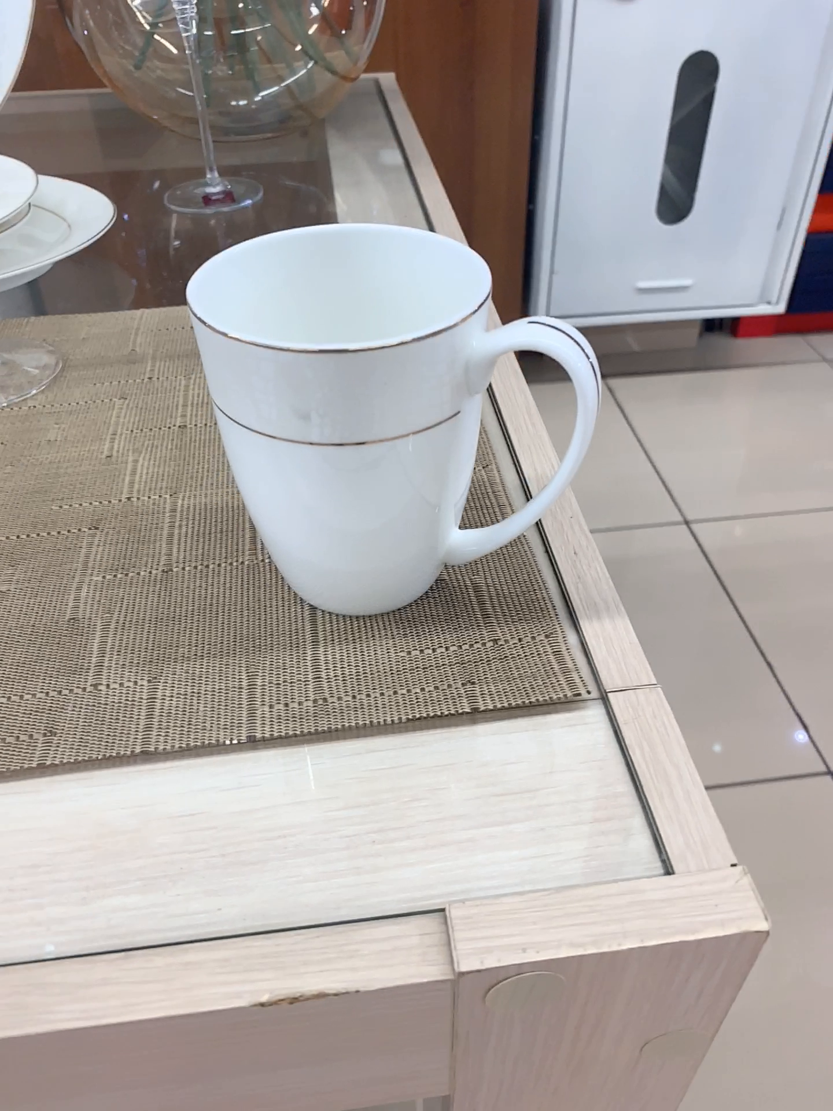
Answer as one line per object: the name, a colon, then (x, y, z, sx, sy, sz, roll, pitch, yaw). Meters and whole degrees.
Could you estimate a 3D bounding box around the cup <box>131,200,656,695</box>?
cup: (-0.003, -0.040, 0.275, 0.120, 0.100, 0.090, 18, 44, 21)
